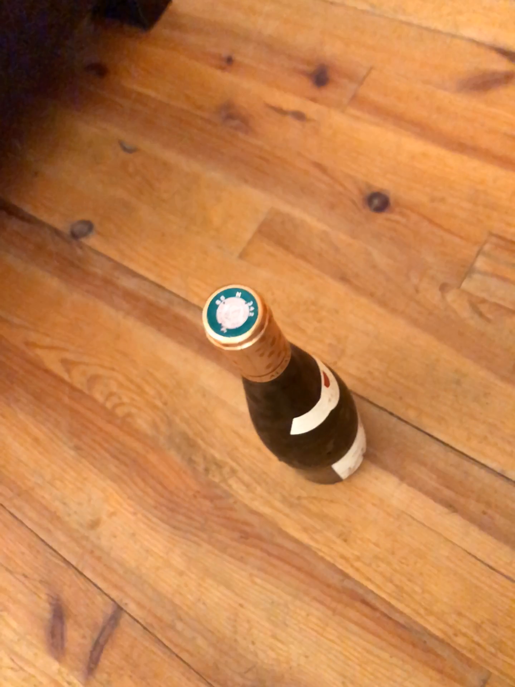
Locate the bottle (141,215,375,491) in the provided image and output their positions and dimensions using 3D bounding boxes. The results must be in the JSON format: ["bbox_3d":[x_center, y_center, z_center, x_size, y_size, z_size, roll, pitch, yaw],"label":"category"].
[{"bbox_3d":[0.028,0.040,0.383,0.080,0.319,0.080,-5,70,13],"label":"bottle"}]
